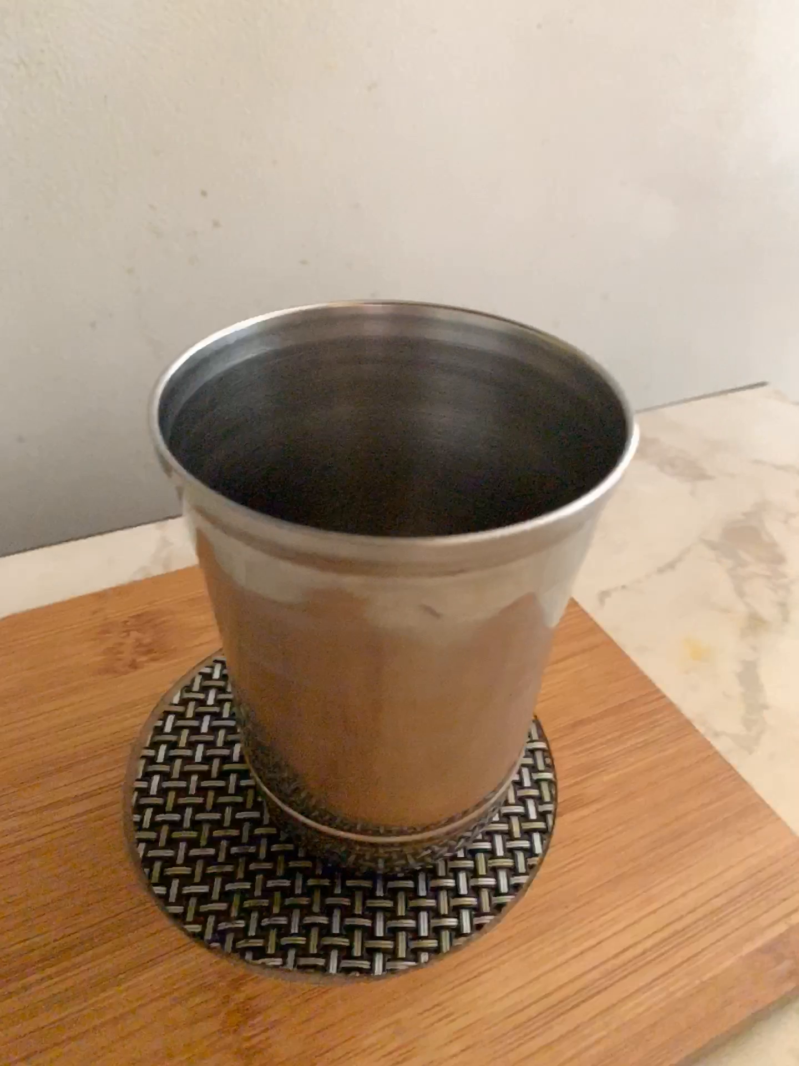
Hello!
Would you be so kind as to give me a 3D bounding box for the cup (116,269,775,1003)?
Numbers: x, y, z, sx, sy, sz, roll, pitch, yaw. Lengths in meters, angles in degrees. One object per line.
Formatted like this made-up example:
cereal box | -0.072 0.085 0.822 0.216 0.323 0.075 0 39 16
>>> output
cup | 0.001 0.015 0.151 0.072 0.091 0.071 1 39 -1
